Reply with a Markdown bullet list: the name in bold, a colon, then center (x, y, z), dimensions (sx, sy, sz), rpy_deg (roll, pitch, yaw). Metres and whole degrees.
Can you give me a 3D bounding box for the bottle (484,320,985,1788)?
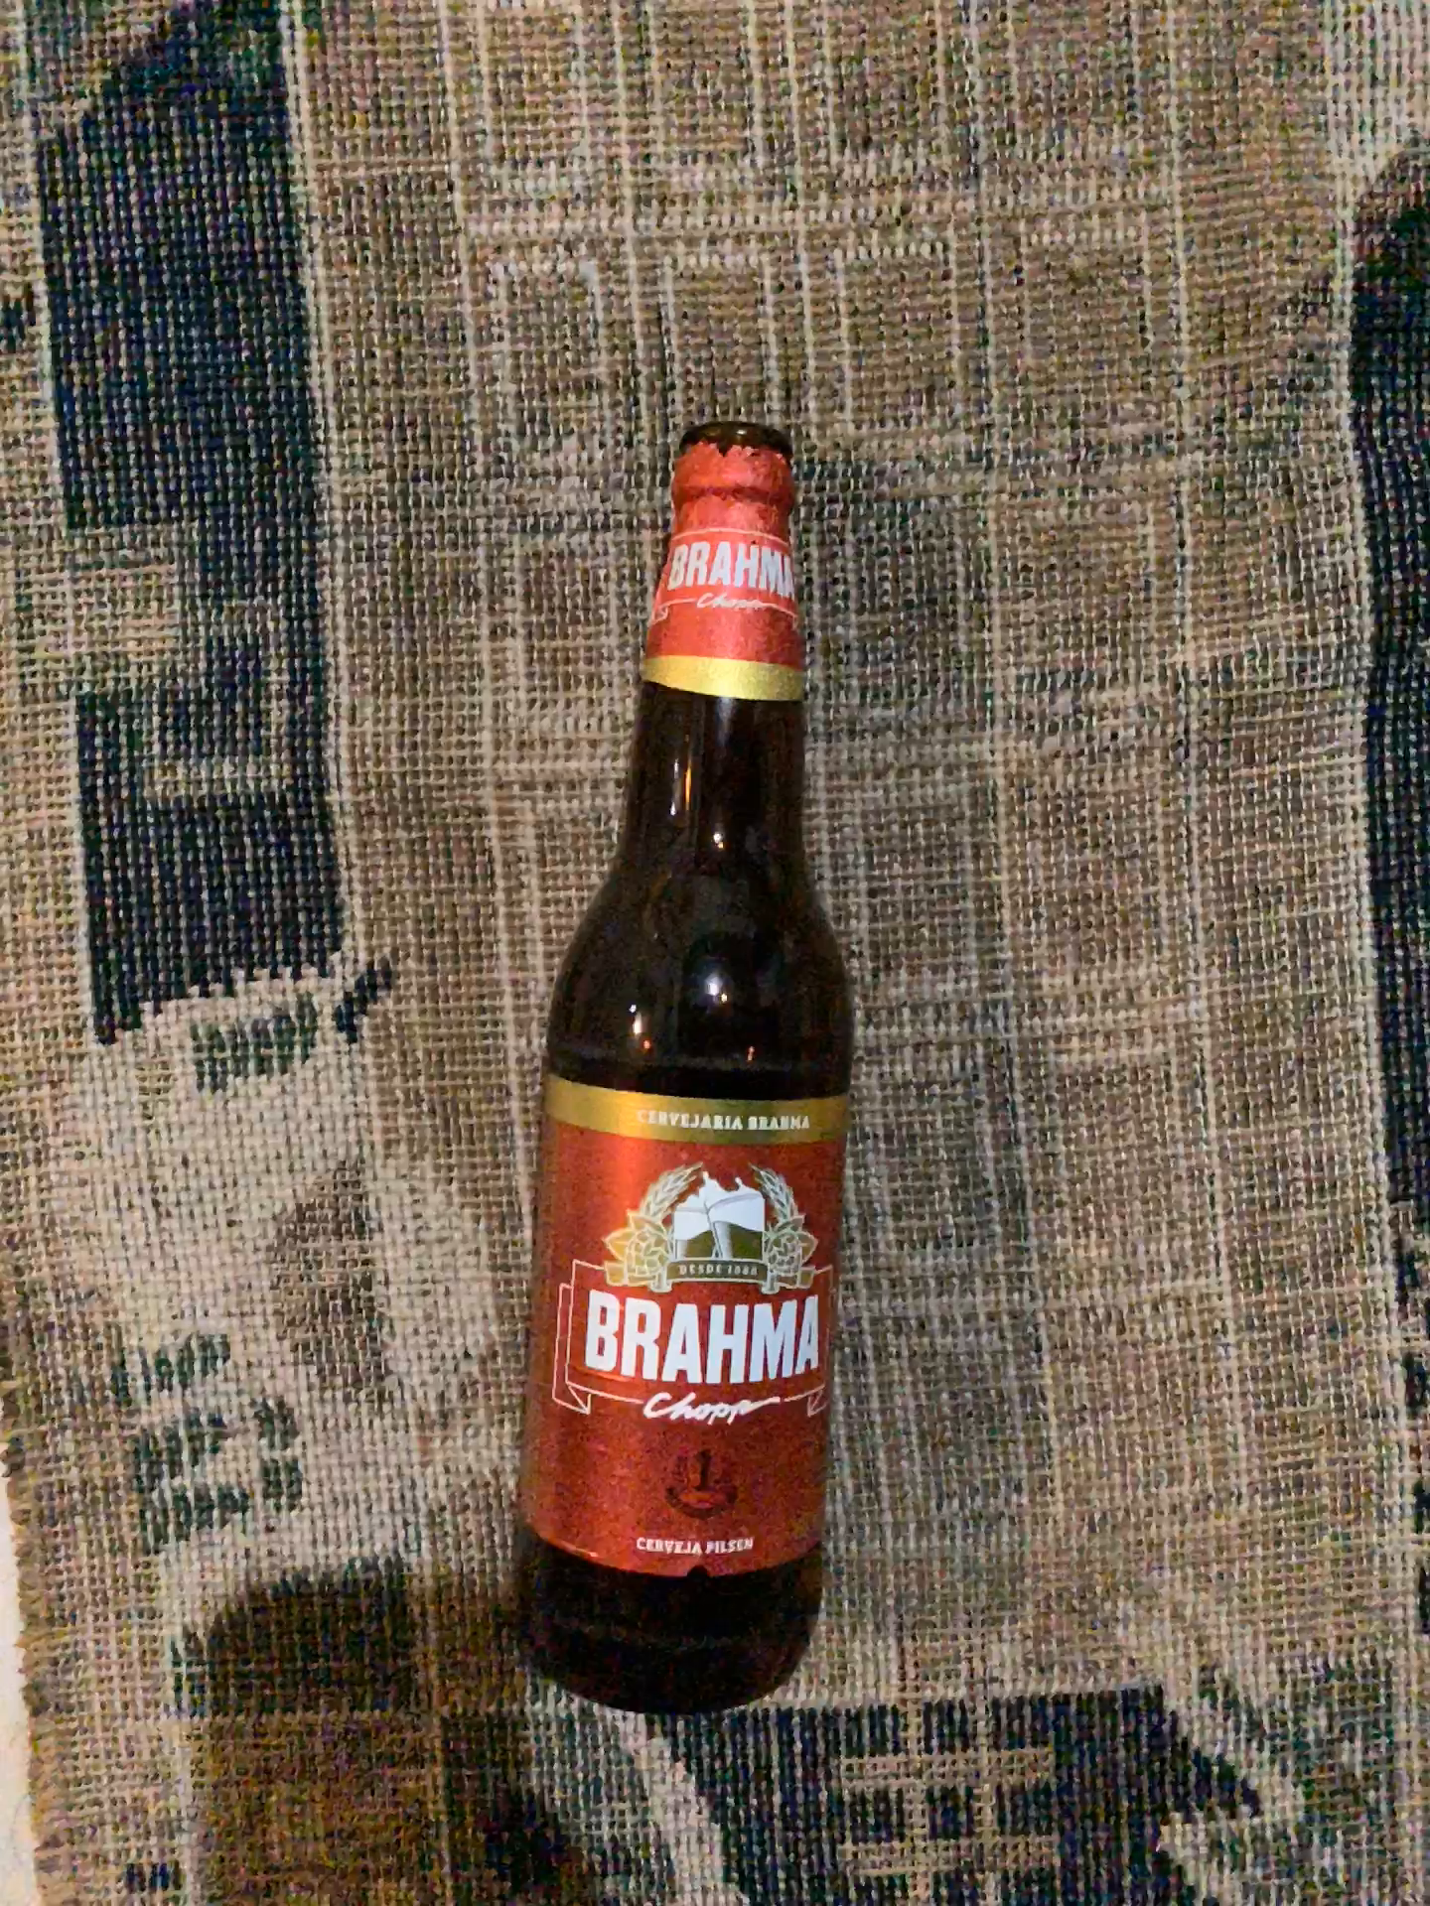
- **bottle**: center (0.001, 0.022, 0.313), dimensions (0.080, 0.060, 0.280), rpy_deg (3, 92, -4)
